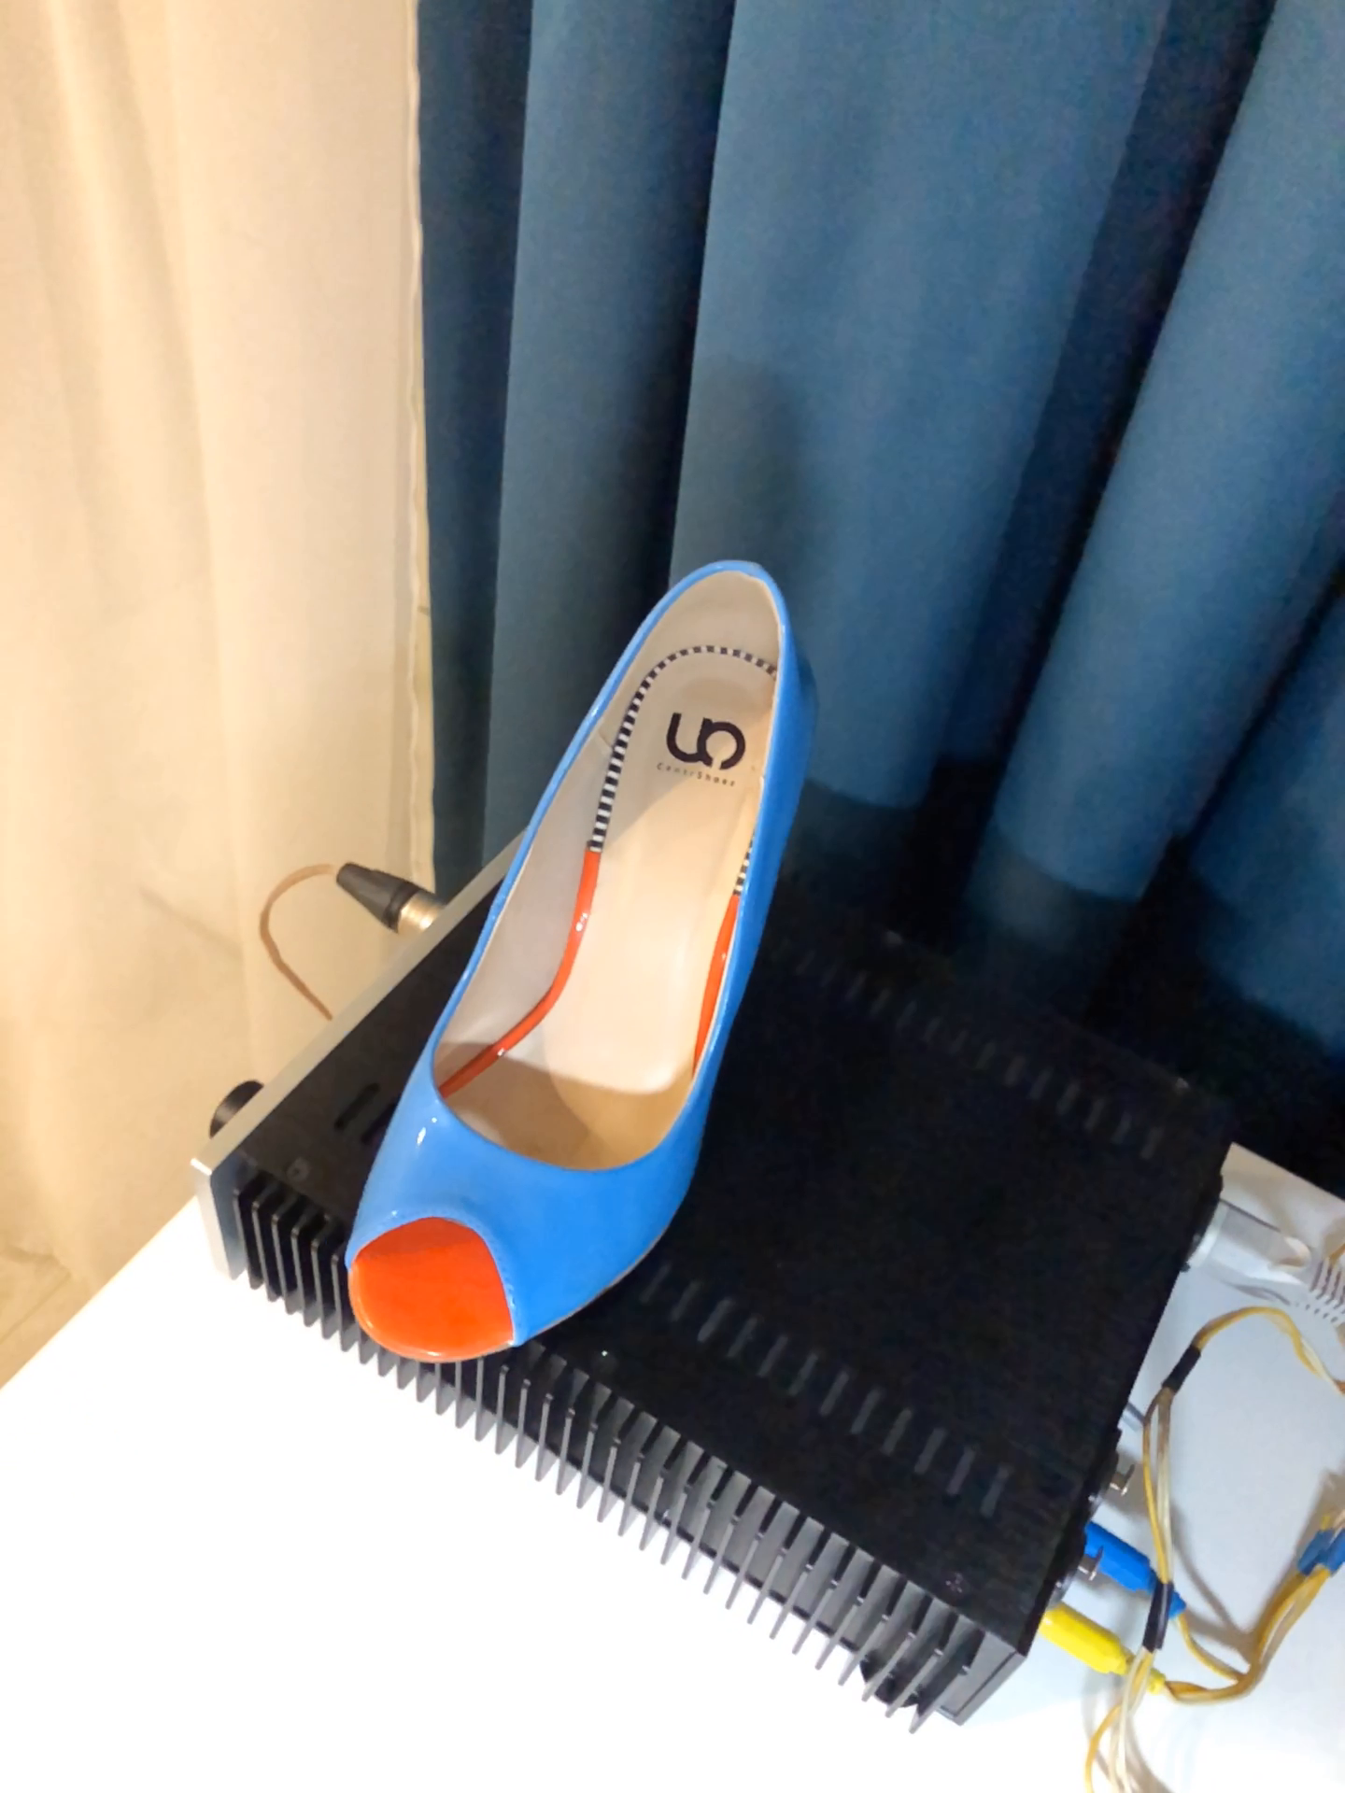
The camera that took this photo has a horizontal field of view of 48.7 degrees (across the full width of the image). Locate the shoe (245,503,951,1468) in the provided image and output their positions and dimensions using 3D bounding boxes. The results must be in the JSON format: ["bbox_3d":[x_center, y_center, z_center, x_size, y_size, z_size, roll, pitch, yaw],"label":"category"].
[{"bbox_3d":[-0.011,0.016,0.421,0.080,0.149,0.221,23,48,13],"label":"shoe"}]
